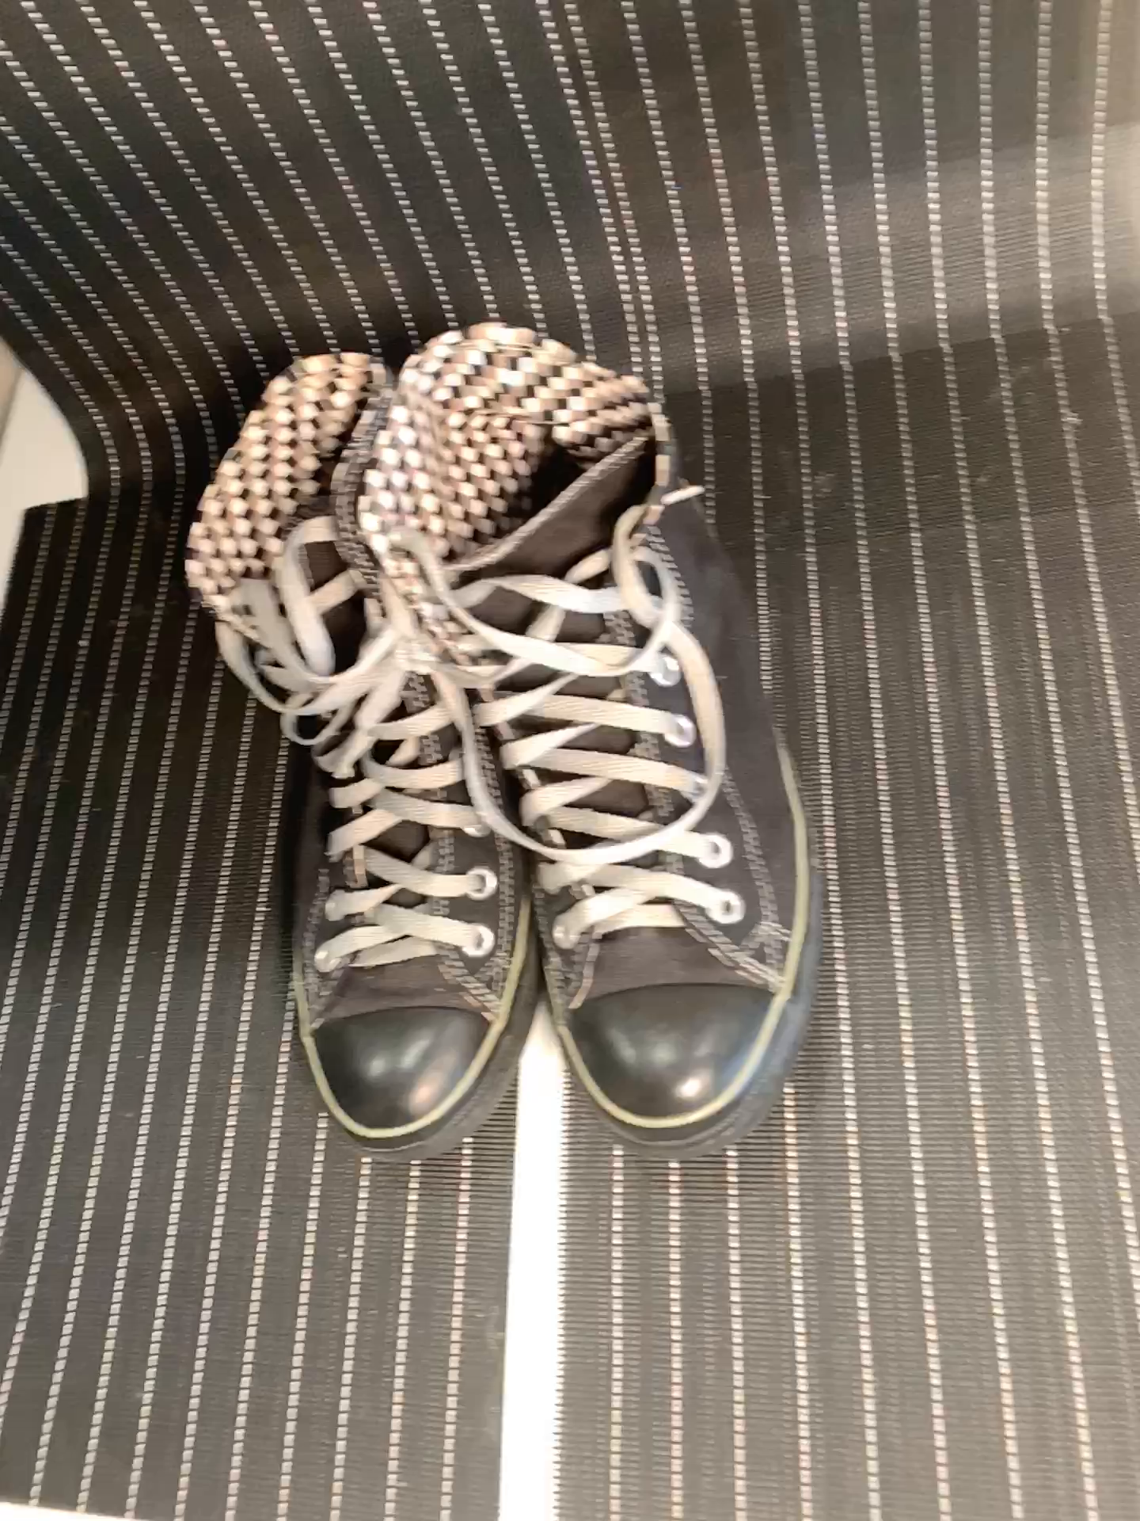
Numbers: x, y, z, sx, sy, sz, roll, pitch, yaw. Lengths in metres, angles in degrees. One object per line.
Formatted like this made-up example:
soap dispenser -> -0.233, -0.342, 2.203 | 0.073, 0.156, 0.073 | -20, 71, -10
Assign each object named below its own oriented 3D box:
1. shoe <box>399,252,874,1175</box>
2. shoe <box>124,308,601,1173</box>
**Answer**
shoe -> 0.021, -0.012, 0.423 | 0.110, 0.130, 0.290 | -12, 65, 14
shoe -> -0.062, -0.001, 0.445 | 0.110, 0.130, 0.290 | -7, 67, 16
